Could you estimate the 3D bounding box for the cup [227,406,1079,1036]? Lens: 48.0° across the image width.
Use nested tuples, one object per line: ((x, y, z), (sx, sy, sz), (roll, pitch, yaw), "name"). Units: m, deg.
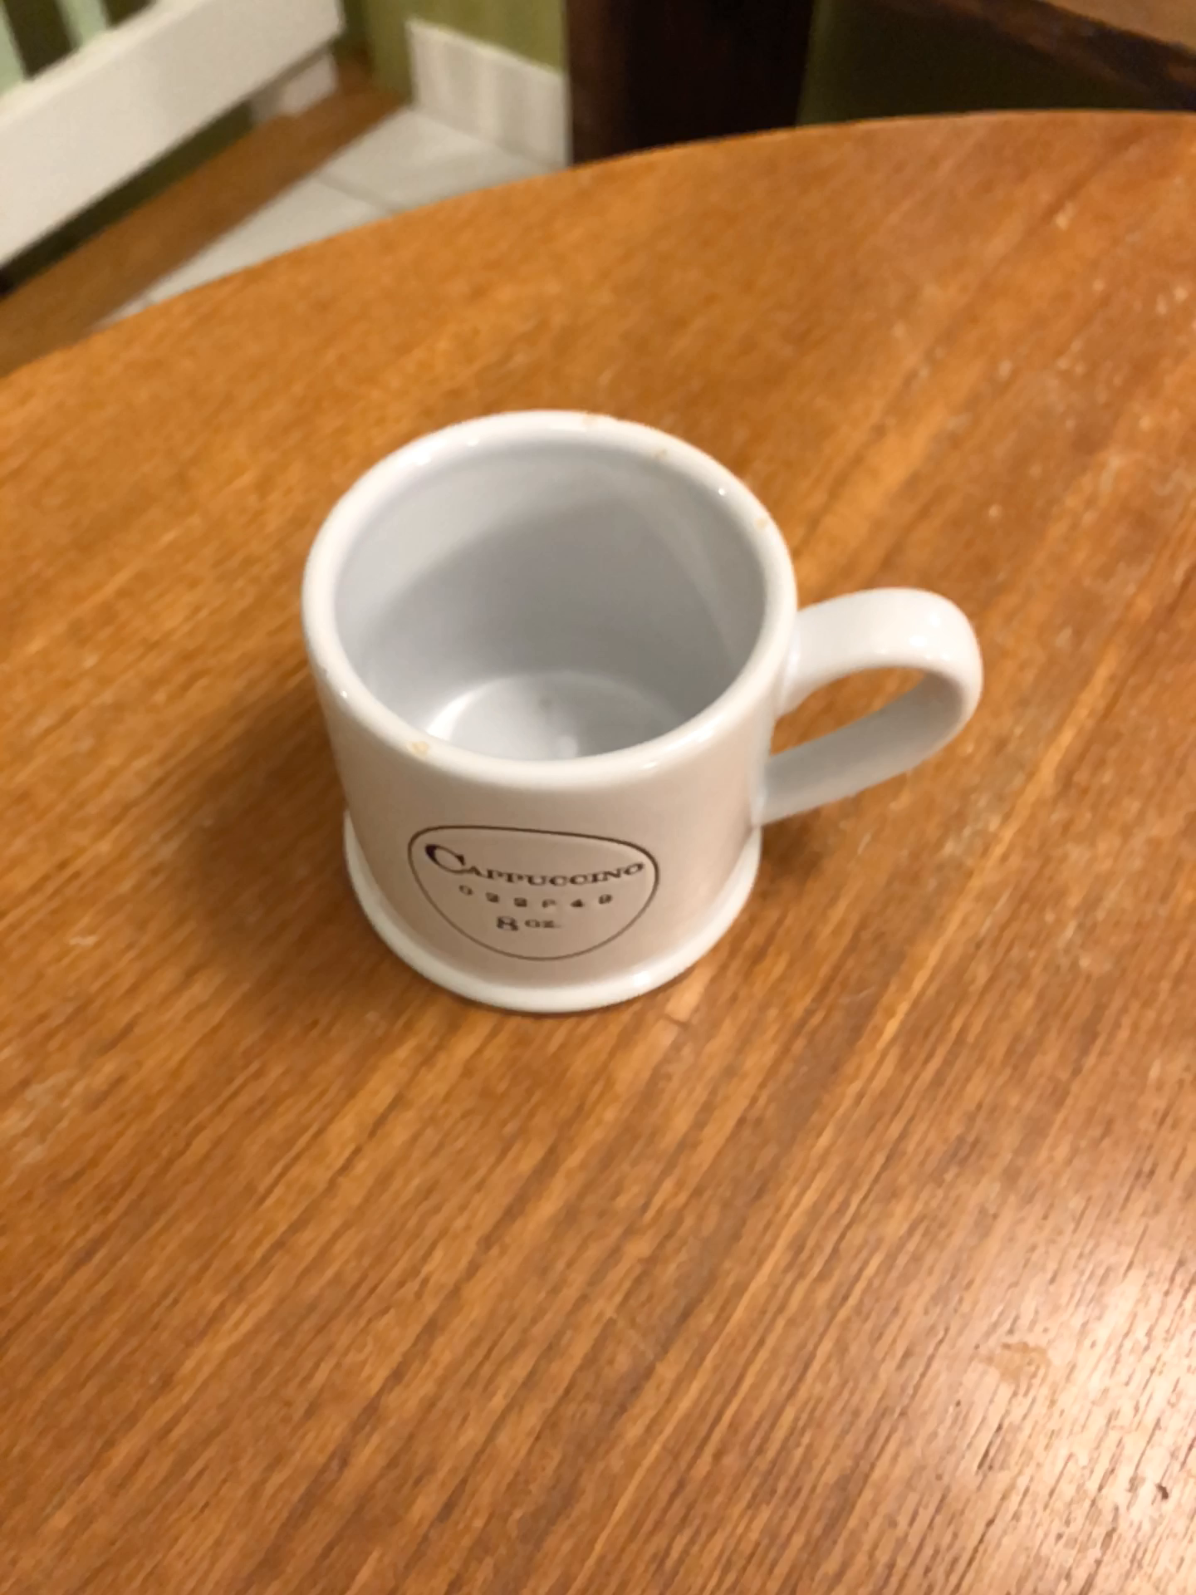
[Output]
((0.007, -0.014, 0.271), (0.135, 0.082, 0.090), (-3, 57, -2), "cup")
